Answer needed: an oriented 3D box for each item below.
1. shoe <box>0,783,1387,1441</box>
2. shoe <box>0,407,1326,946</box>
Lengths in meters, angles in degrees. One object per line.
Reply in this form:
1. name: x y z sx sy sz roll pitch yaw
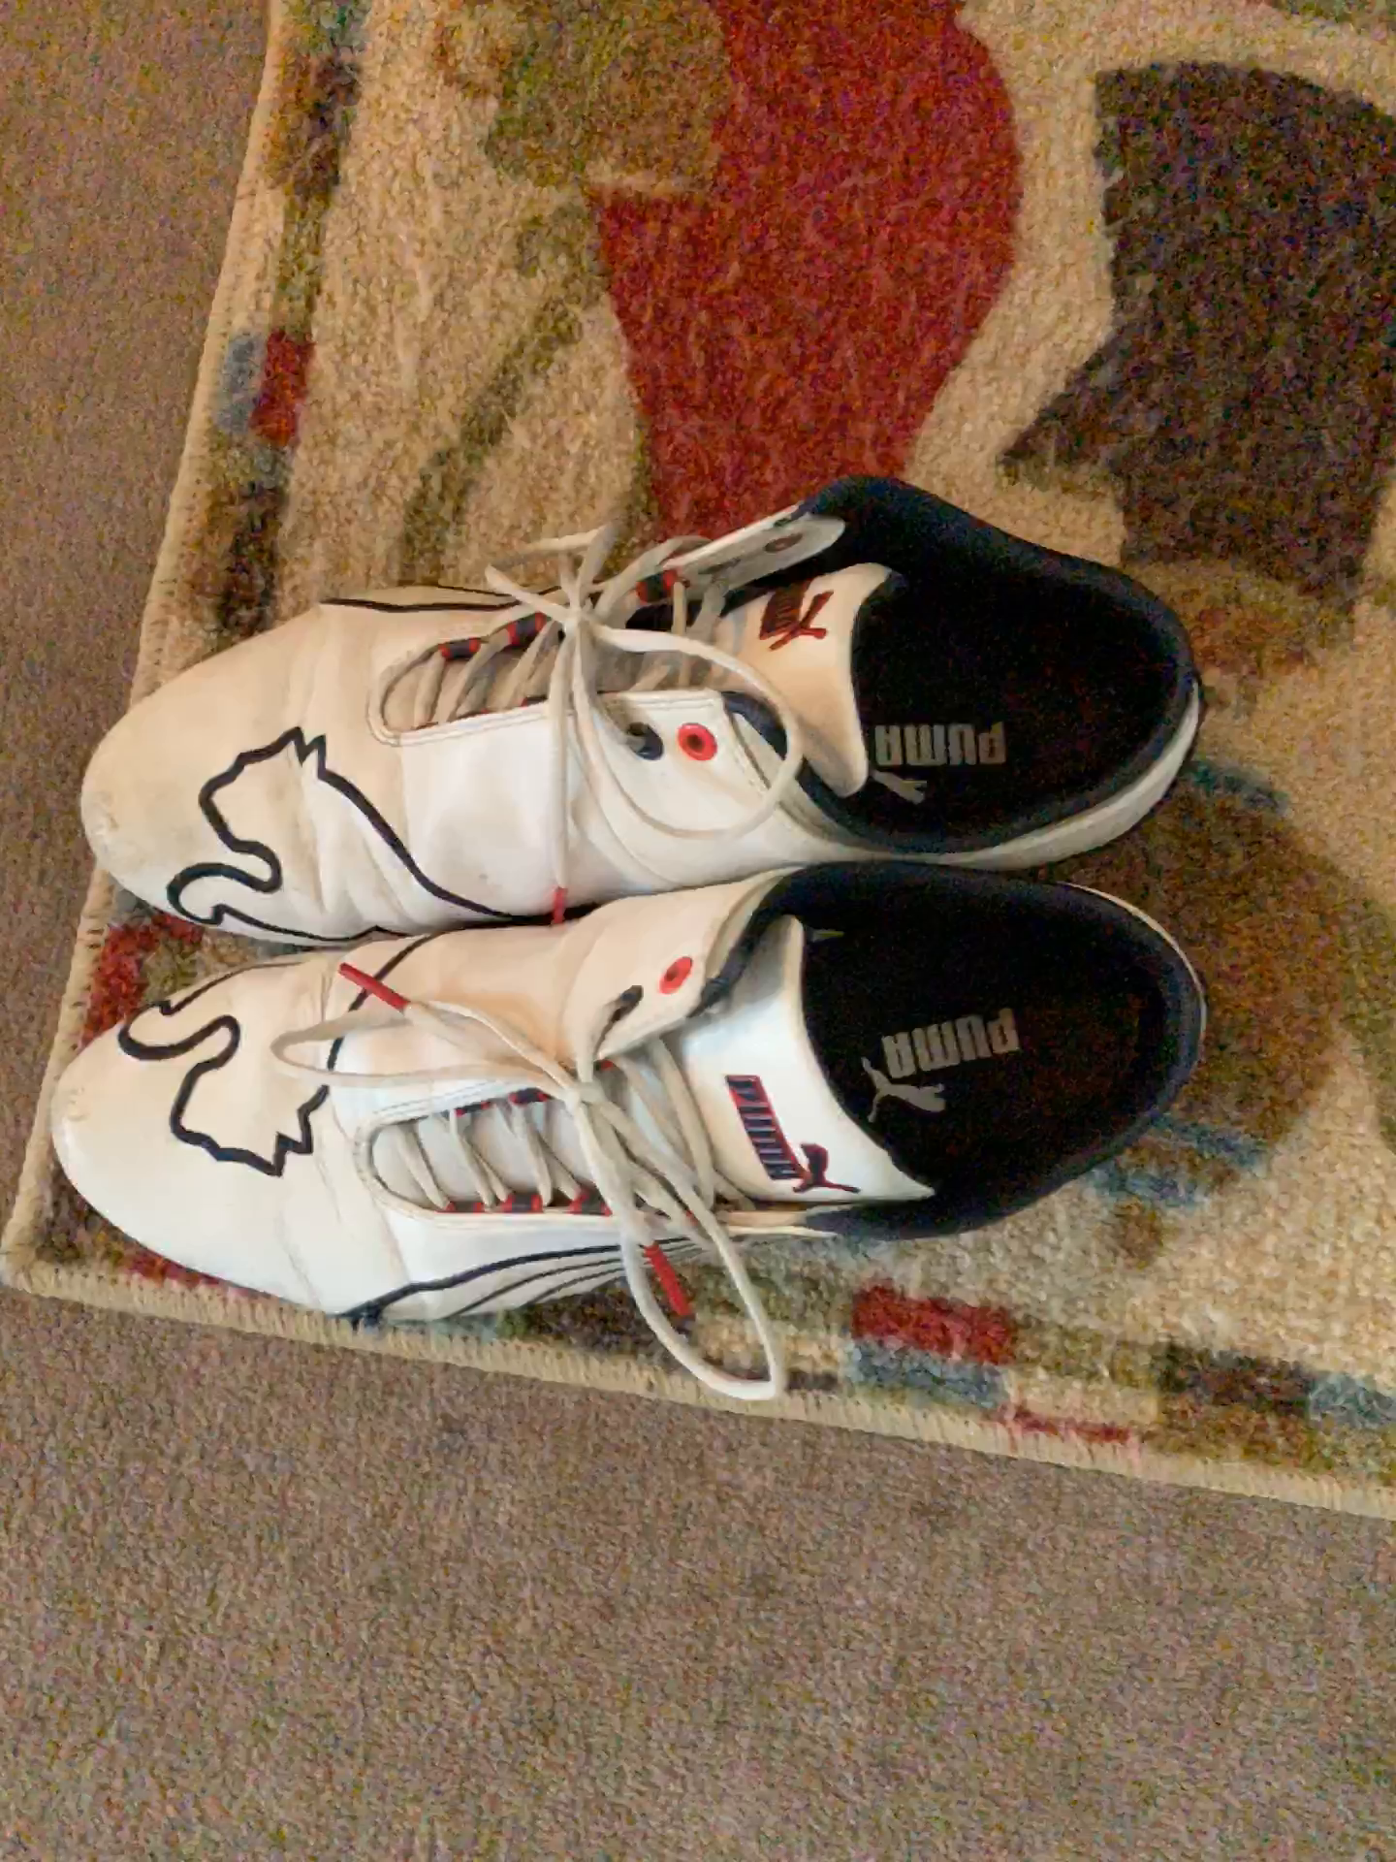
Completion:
1. shoe: -0.011 0.040 0.343 0.290 0.107 0.100 -6 82 -5
2. shoe: -0.014 -0.058 0.362 0.290 0.107 0.100 -2 82 -5
